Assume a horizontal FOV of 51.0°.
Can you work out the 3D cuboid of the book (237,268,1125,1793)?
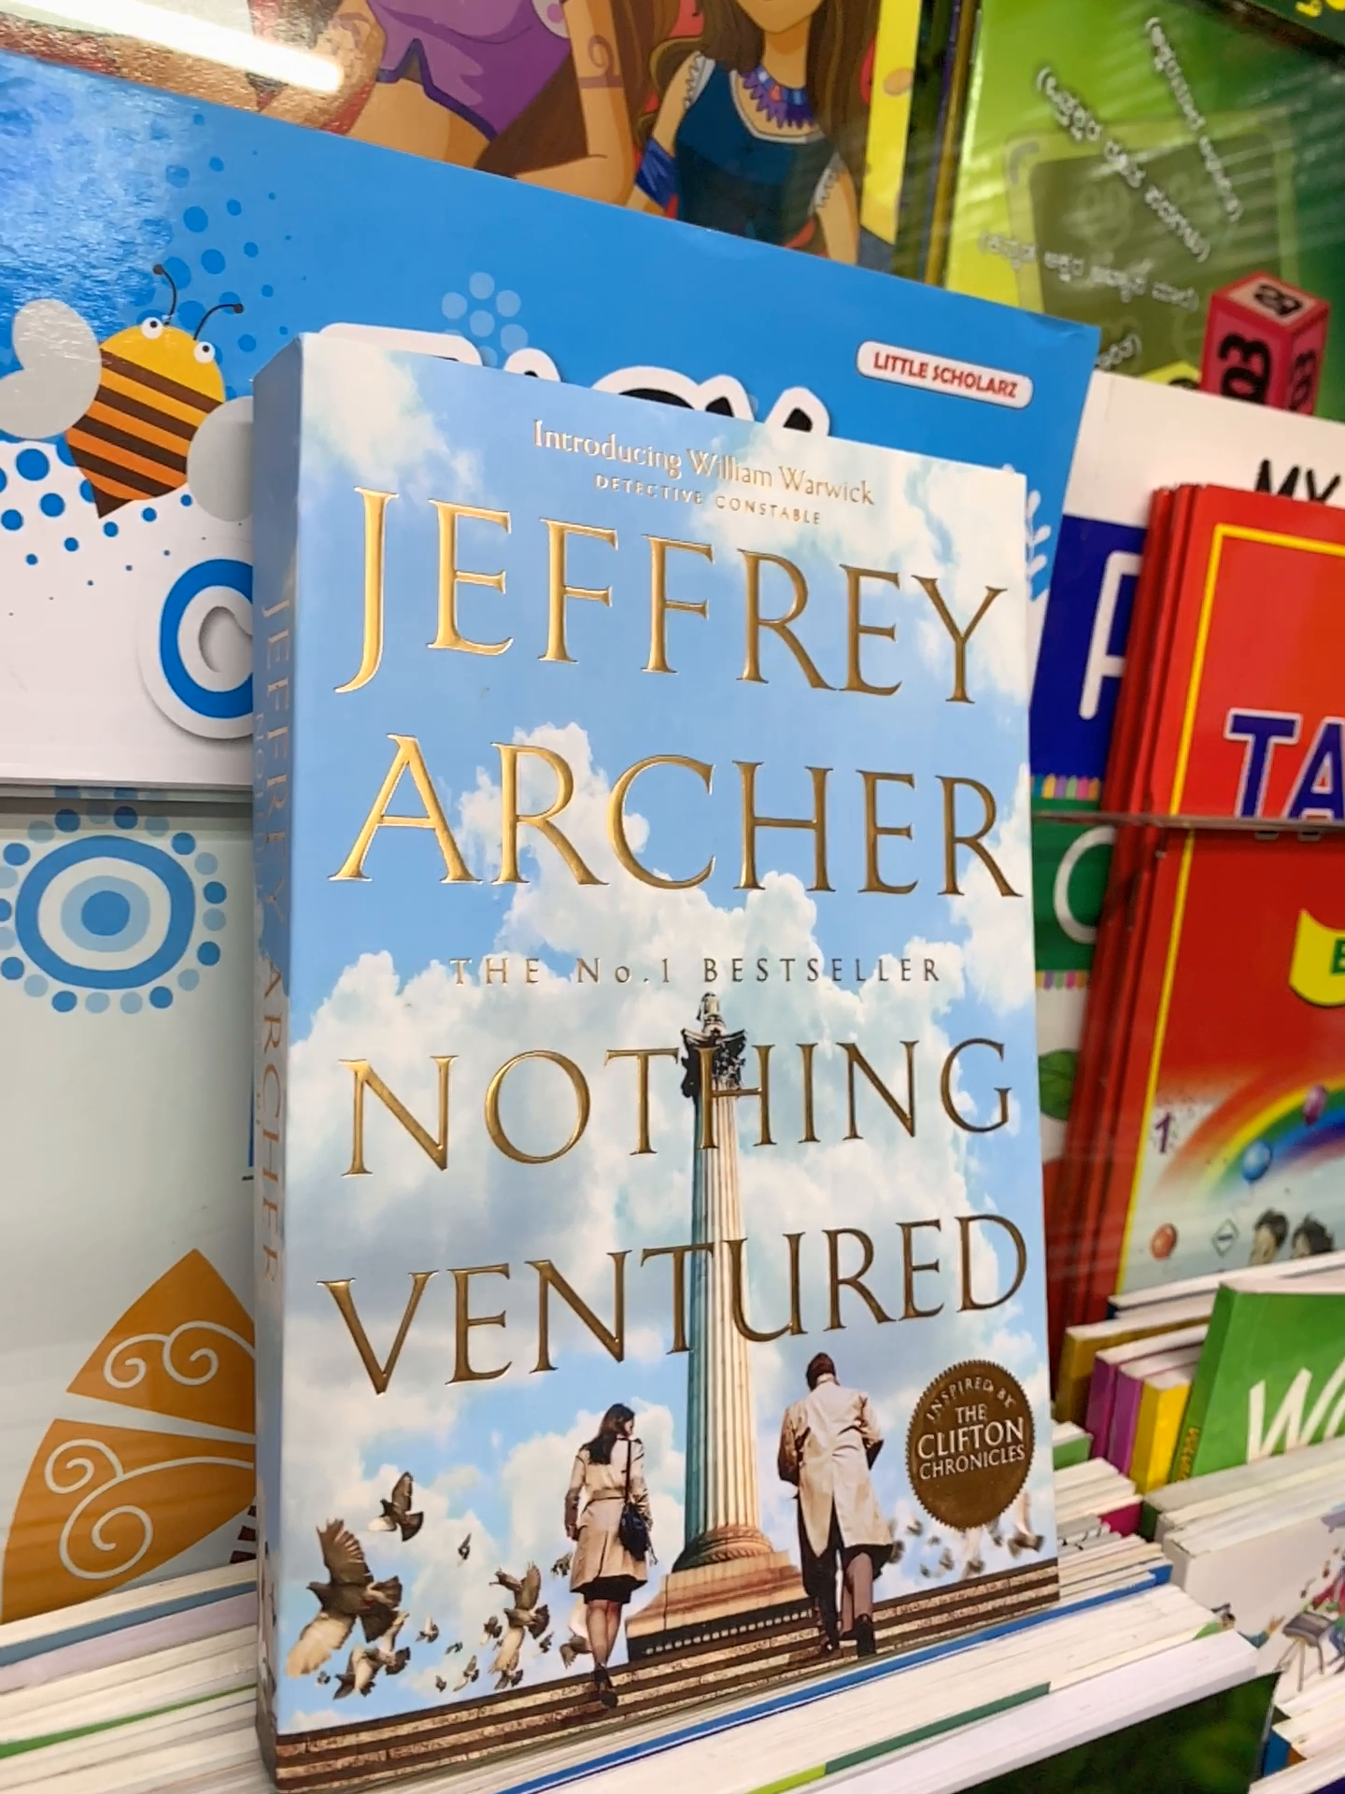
[{"bbox_3d":[0.005,0.017,0.213,0.130,0.190,0.030,1,-4,-26],"label":"book"}]
